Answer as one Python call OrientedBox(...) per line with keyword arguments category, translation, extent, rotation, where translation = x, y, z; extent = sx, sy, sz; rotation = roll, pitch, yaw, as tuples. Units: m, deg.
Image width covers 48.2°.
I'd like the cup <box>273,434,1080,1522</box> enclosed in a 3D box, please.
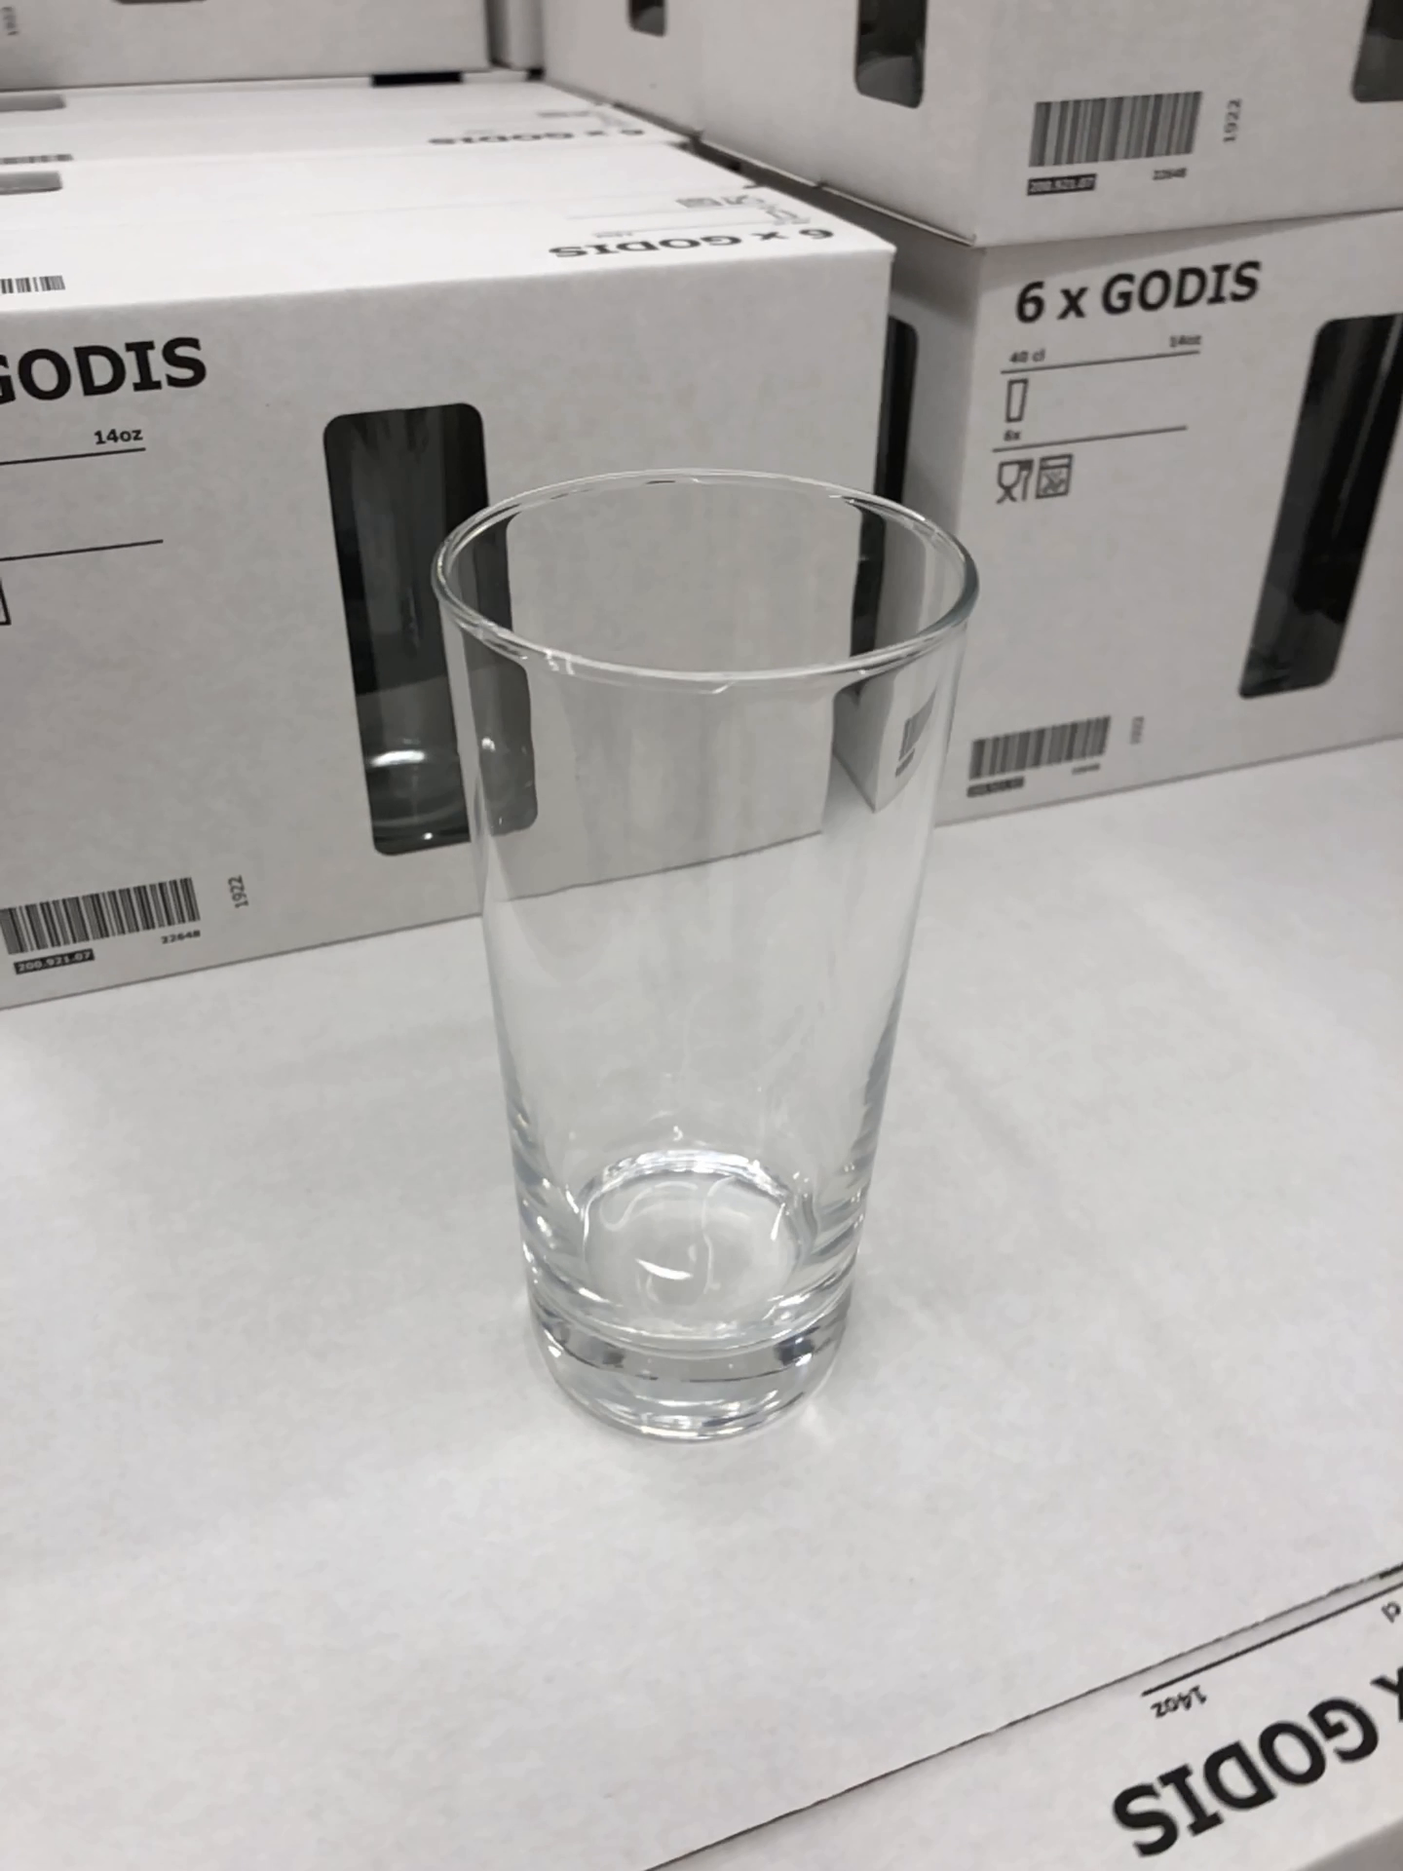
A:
OrientedBox(category="cup", translation=(-0.004, 0.005, 0.259), extent=(0.080, 0.139, 0.080), rotation=(1, 34, -1))
